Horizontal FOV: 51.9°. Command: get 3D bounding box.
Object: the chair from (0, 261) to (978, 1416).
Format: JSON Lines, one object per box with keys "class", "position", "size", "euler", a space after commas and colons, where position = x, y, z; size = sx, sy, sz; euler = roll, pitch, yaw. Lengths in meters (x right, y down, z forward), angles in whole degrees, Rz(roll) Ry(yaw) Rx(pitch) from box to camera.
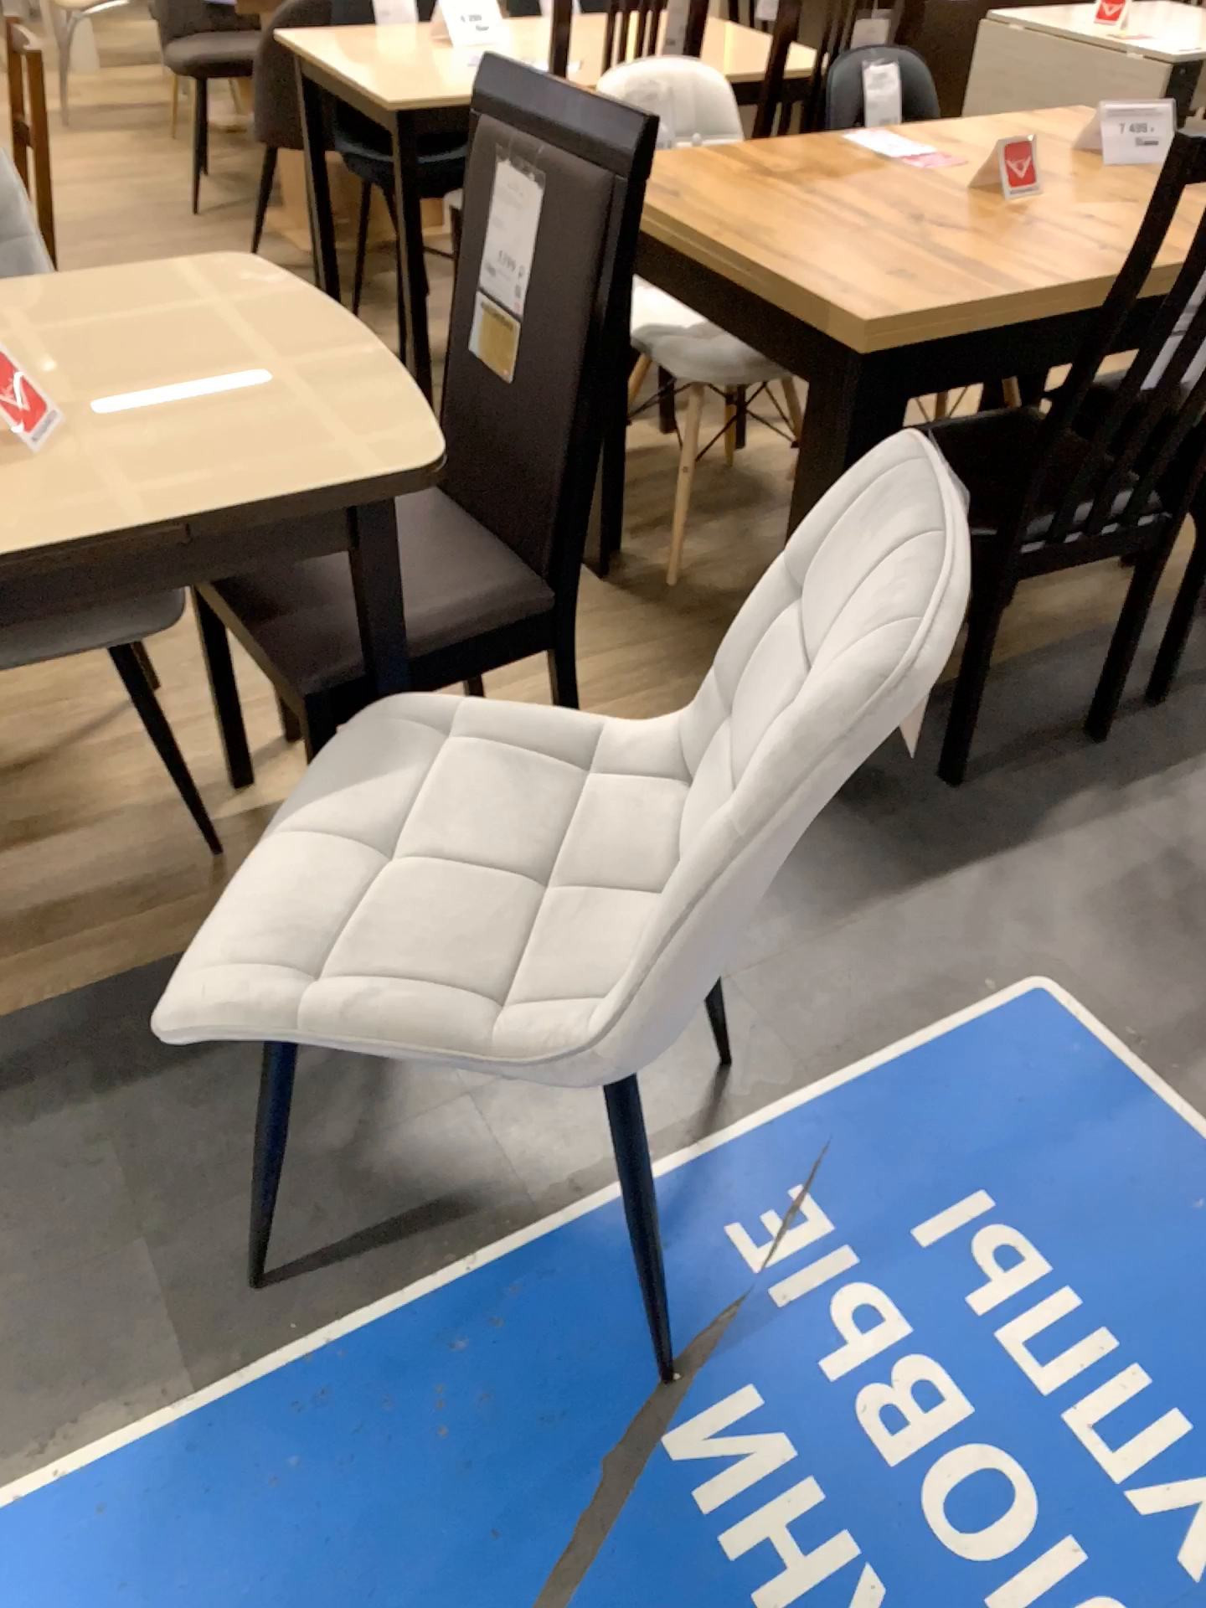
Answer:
{"class": "chair", "position": [-0.048, 0.079, 1.222], "size": [0.600, 0.975, 0.483], "euler": [10, 42, 9]}
